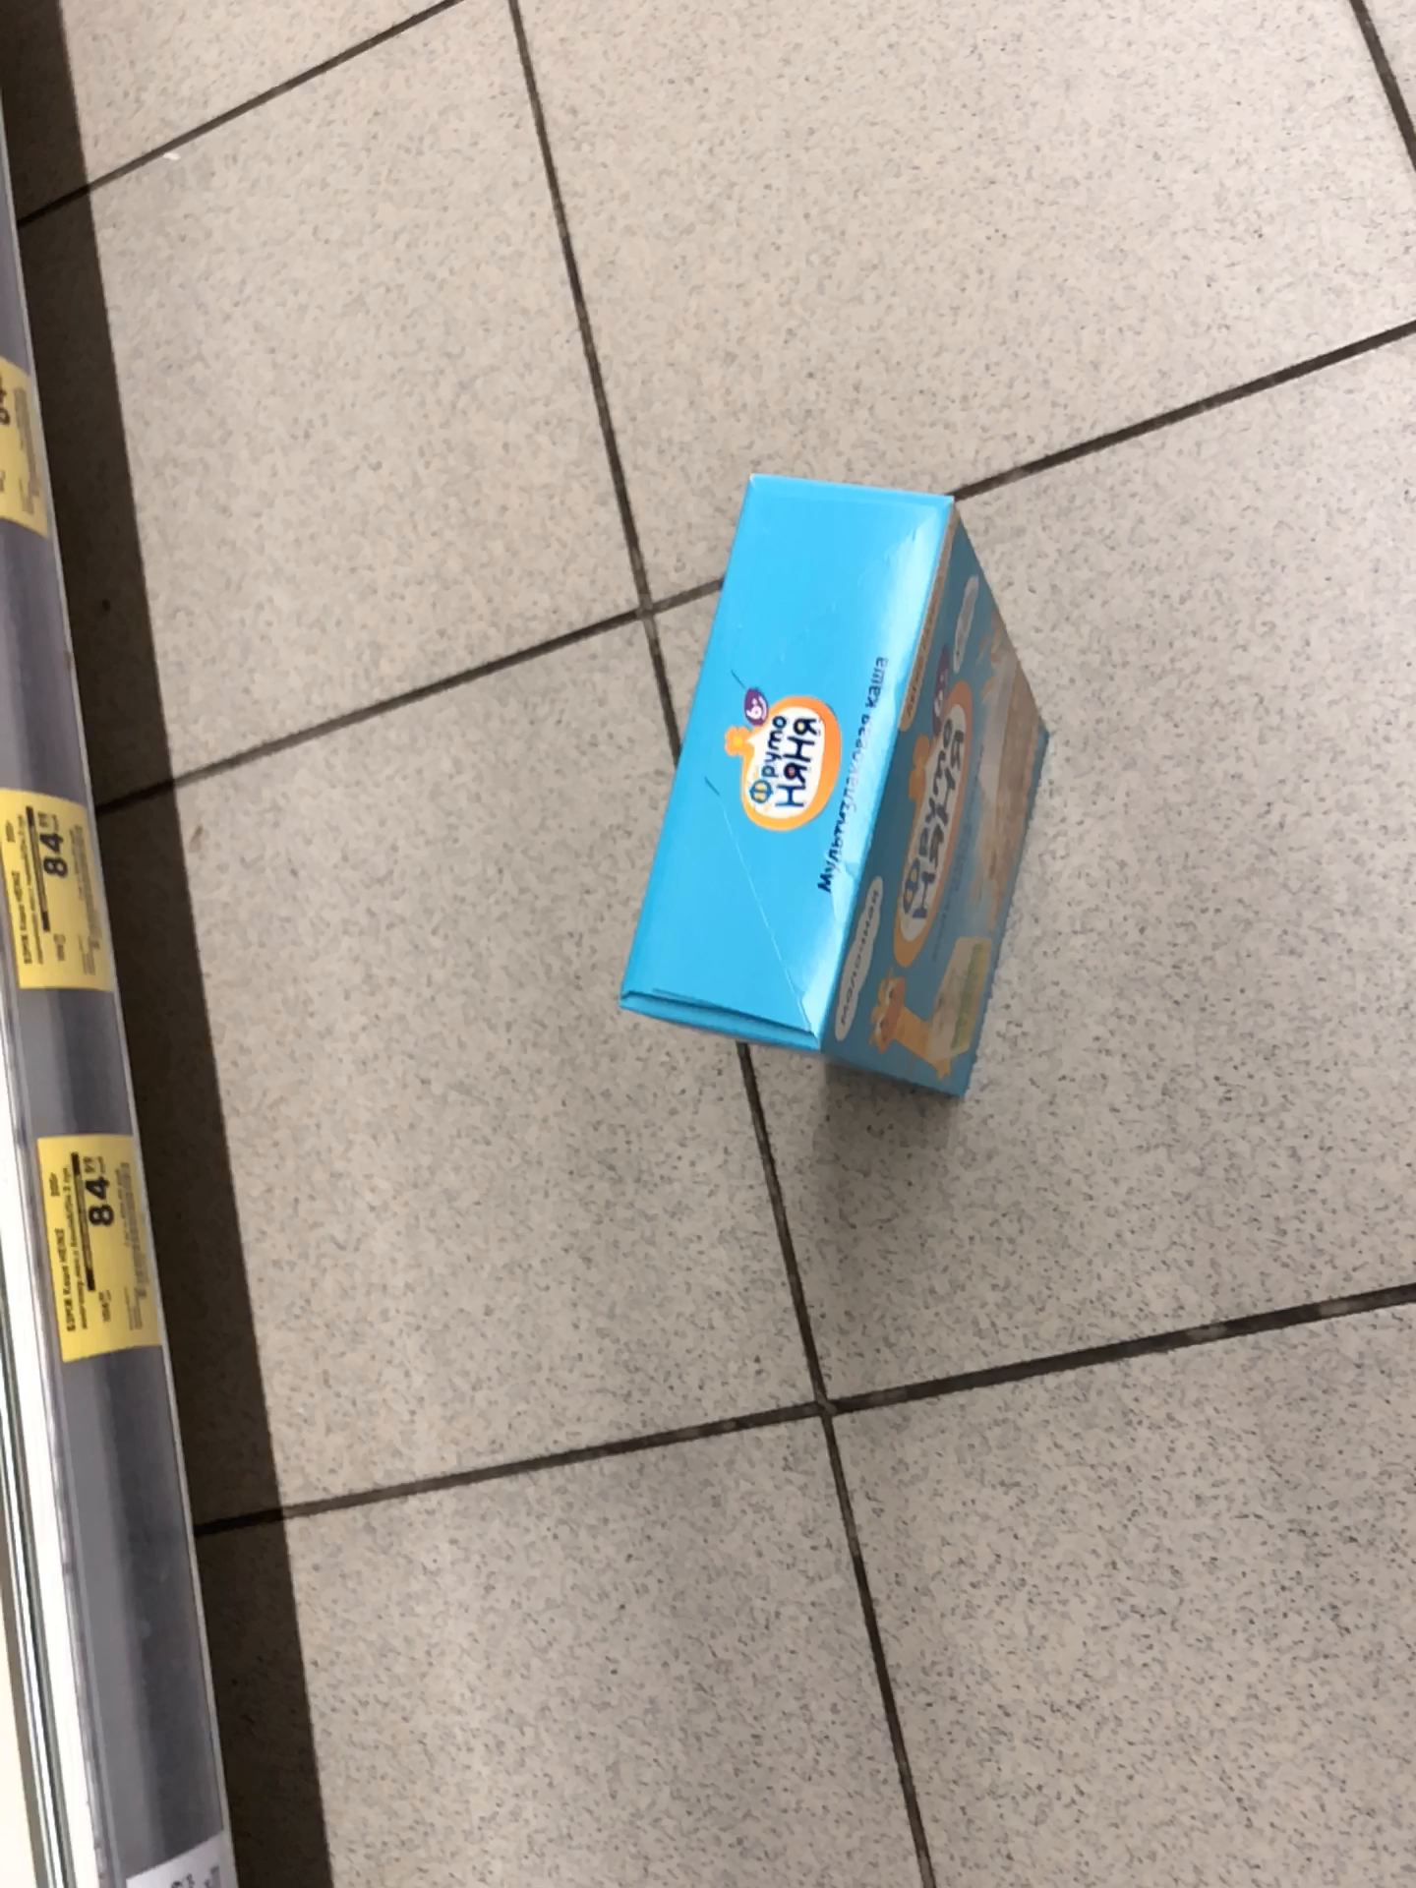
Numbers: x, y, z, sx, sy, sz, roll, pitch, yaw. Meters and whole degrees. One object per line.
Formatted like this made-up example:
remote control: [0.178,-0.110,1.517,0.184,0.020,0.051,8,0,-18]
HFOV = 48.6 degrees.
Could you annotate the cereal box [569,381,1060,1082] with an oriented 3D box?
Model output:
cereal box: [0.044,-0.042,0.438,0.060,0.200,0.140,12,86,19]
